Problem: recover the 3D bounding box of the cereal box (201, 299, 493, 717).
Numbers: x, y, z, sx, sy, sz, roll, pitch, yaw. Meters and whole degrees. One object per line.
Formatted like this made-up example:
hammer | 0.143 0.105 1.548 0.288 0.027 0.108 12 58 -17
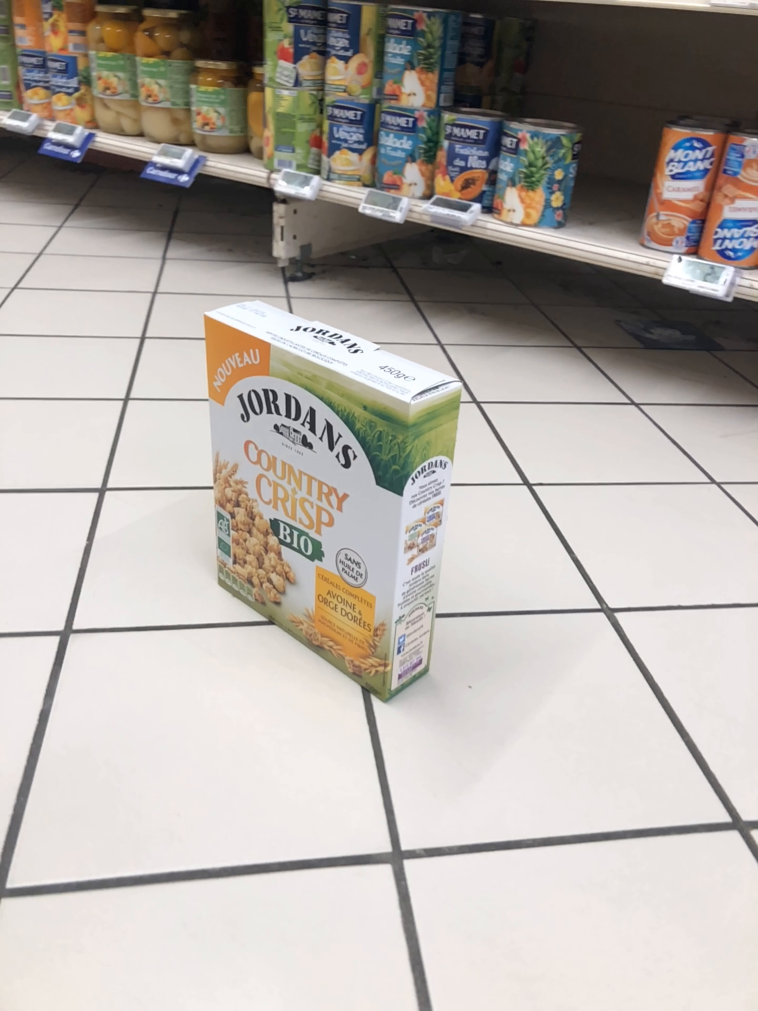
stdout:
cereal box | -0.034 -0.004 0.549 0.190 0.209 0.060 29 37 35
